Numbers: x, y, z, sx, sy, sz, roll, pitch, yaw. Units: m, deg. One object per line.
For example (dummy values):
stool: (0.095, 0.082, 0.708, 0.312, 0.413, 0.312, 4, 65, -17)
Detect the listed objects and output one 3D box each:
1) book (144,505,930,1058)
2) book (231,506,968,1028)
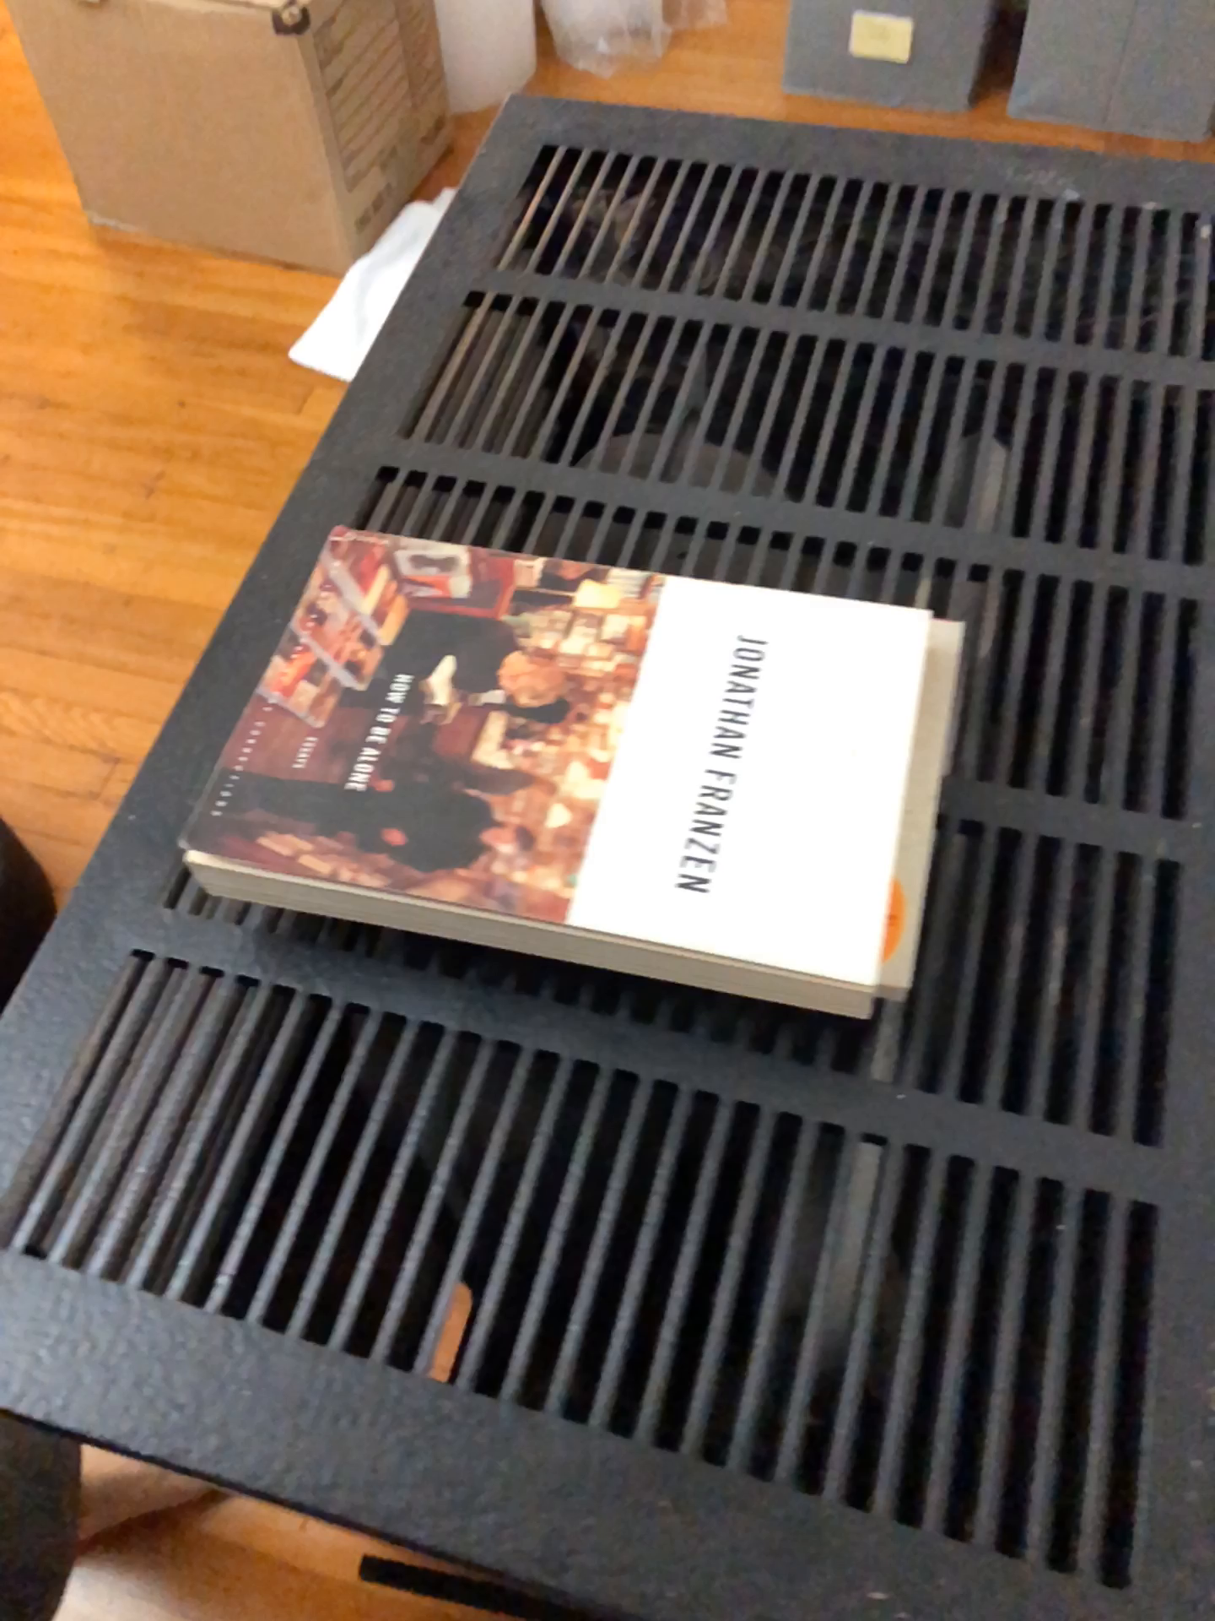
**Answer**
book: (-0.014, -0.018, 0.422, 0.210, 0.030, 0.151, 10, 59, 9)
book: (0.004, -0.022, 0.445, 0.210, 0.030, 0.151, 10, 59, 9)
